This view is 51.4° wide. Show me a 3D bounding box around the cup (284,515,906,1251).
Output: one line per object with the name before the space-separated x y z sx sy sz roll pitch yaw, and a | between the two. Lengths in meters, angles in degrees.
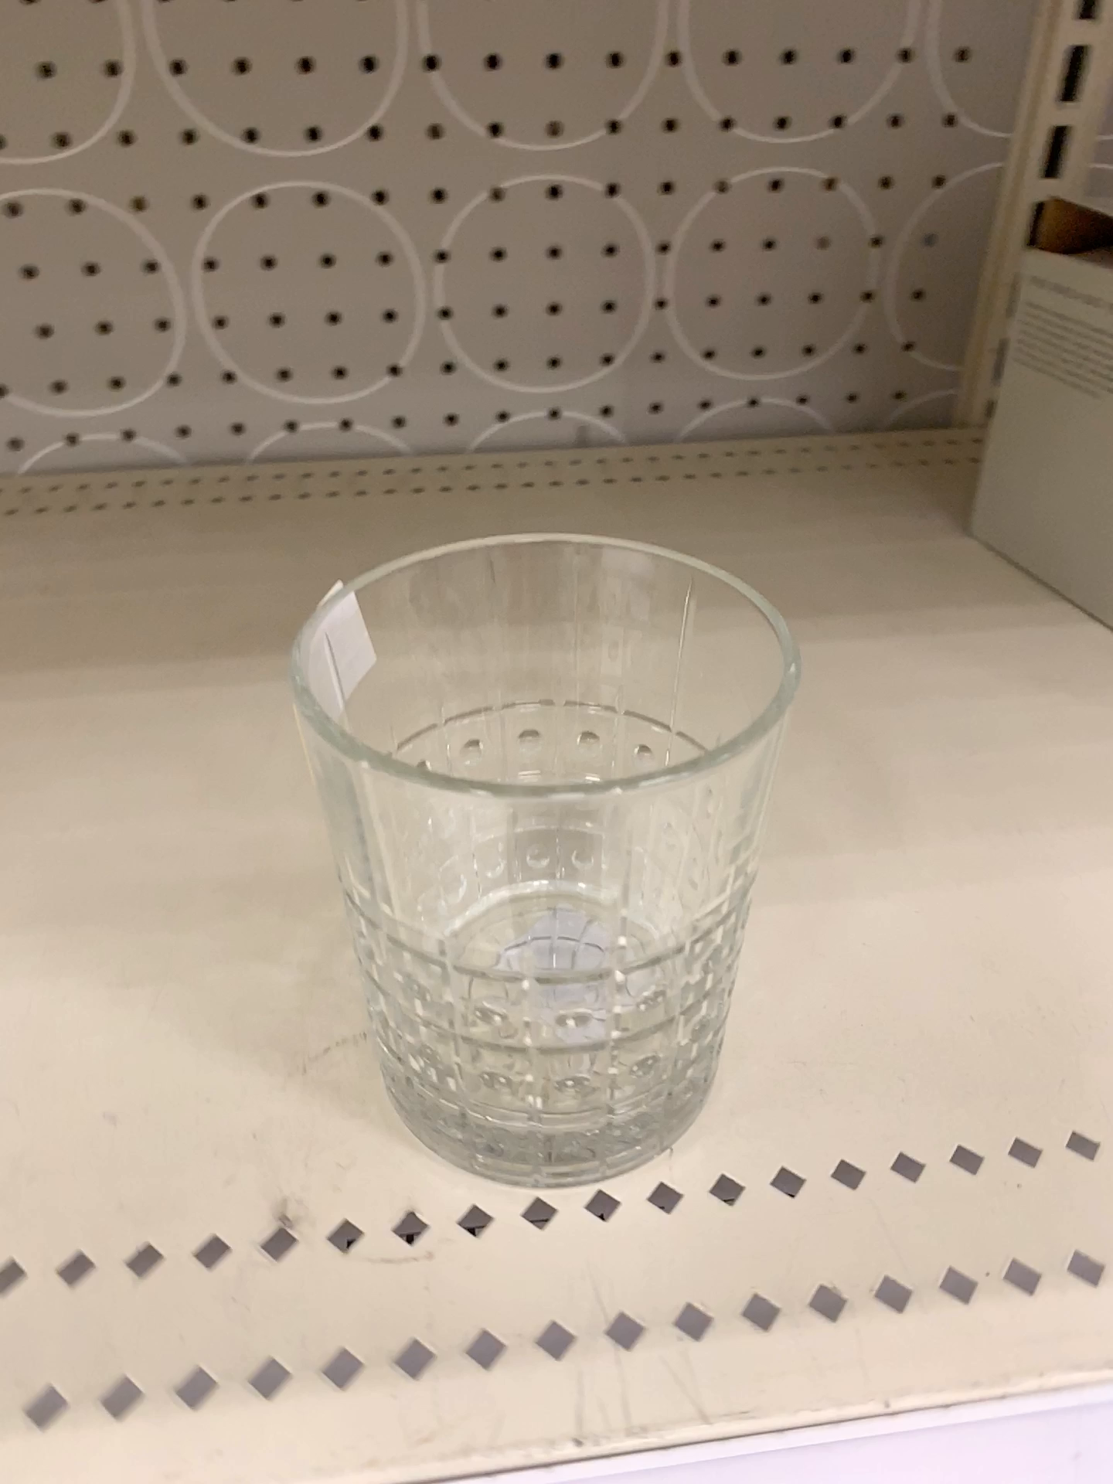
cup | 0.002 0.026 0.234 0.090 0.109 0.091 0 36 0
